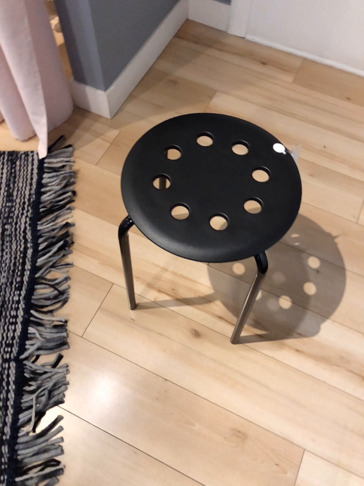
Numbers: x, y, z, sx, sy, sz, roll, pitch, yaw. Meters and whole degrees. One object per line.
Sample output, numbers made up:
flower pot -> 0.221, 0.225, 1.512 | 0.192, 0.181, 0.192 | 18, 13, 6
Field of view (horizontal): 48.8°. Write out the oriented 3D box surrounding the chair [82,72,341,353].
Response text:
chair -> 0.066, -0.042, 0.886 | 0.370, 0.400, 0.380 | 17, 63, 6
